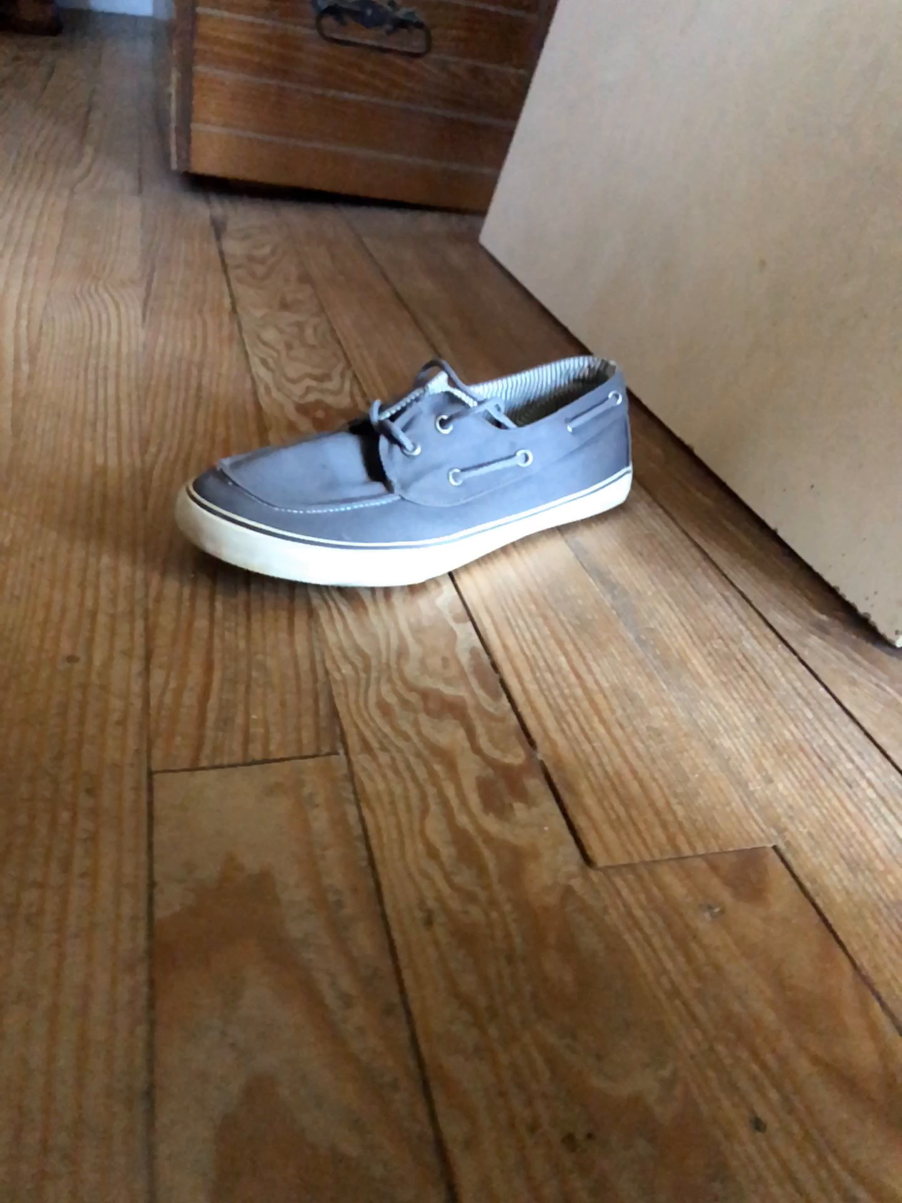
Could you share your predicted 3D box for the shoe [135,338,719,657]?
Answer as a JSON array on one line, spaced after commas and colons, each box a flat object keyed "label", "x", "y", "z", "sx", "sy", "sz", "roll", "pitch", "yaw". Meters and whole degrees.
[{"label": "shoe", "x": -0.001, "y": -0.065, "z": 0.486, "sx": 0.271, "sy": 0.060, "sz": 0.100, "roll": -20, "pitch": 41, "yaw": -34}]
